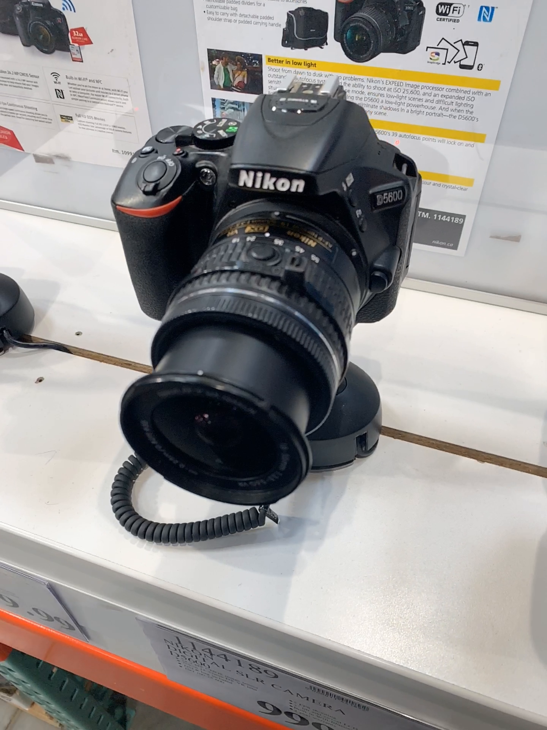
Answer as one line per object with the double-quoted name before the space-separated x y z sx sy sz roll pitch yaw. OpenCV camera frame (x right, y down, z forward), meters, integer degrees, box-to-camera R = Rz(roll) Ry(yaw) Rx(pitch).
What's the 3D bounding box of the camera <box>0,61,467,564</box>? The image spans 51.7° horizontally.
"camera" -0.004 -0.031 0.197 0.111 0.090 0.141 11 47 13
